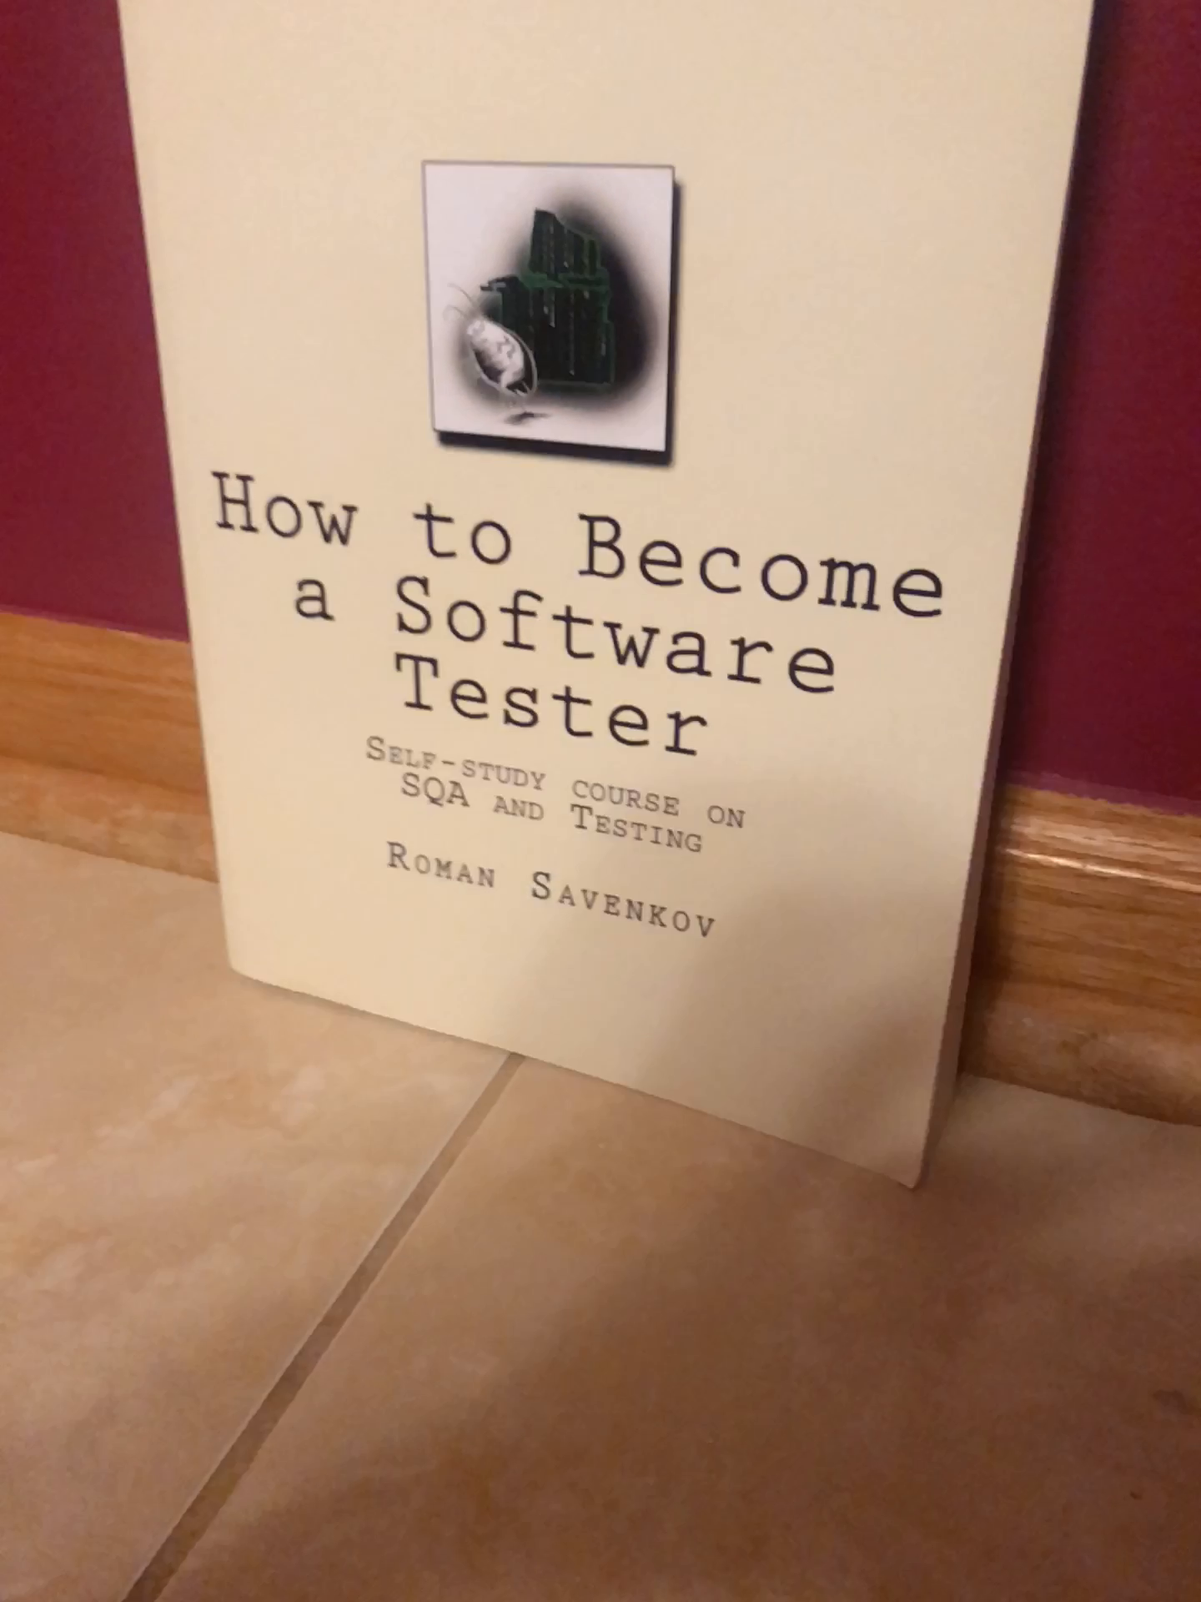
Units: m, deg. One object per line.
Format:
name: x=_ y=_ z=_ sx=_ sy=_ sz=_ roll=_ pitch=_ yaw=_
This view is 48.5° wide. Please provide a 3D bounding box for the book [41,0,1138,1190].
book: x=-0.011 y=-0.061 z=0.322 sx=0.220 sy=0.273 sz=0.046 roll=11 pitch=27 yaw=23
